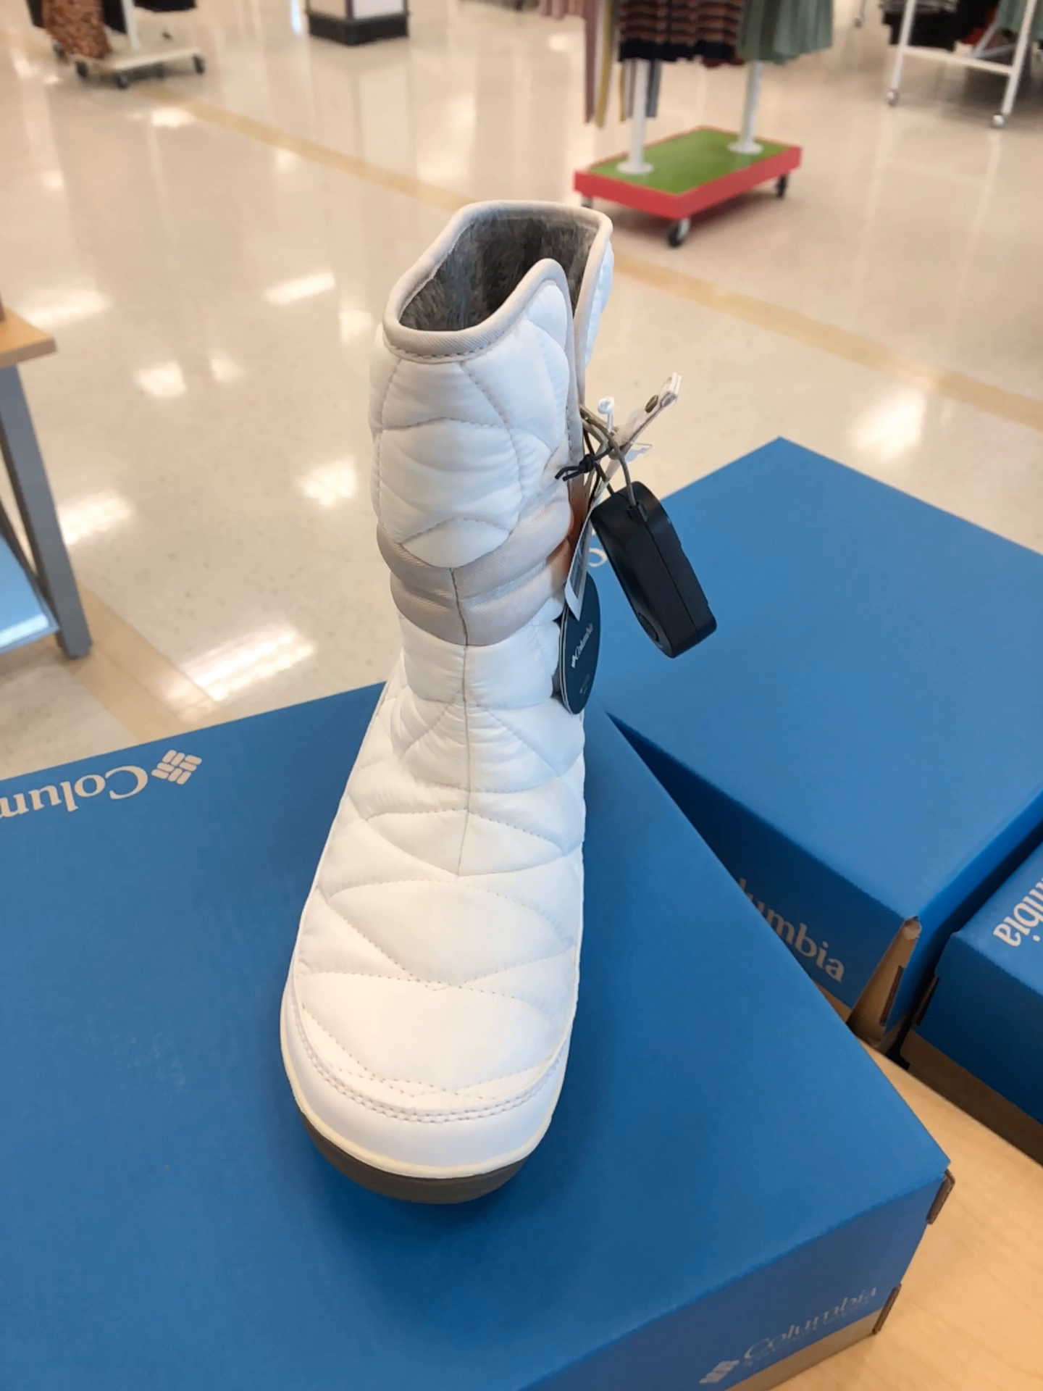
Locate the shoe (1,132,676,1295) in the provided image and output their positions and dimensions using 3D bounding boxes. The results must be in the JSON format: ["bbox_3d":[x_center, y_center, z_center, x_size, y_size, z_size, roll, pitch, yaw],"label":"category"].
[{"bbox_3d":[-0.017,-0.010,0.348,0.104,0.228,0.262,4,40,4],"label":"shoe"}]
